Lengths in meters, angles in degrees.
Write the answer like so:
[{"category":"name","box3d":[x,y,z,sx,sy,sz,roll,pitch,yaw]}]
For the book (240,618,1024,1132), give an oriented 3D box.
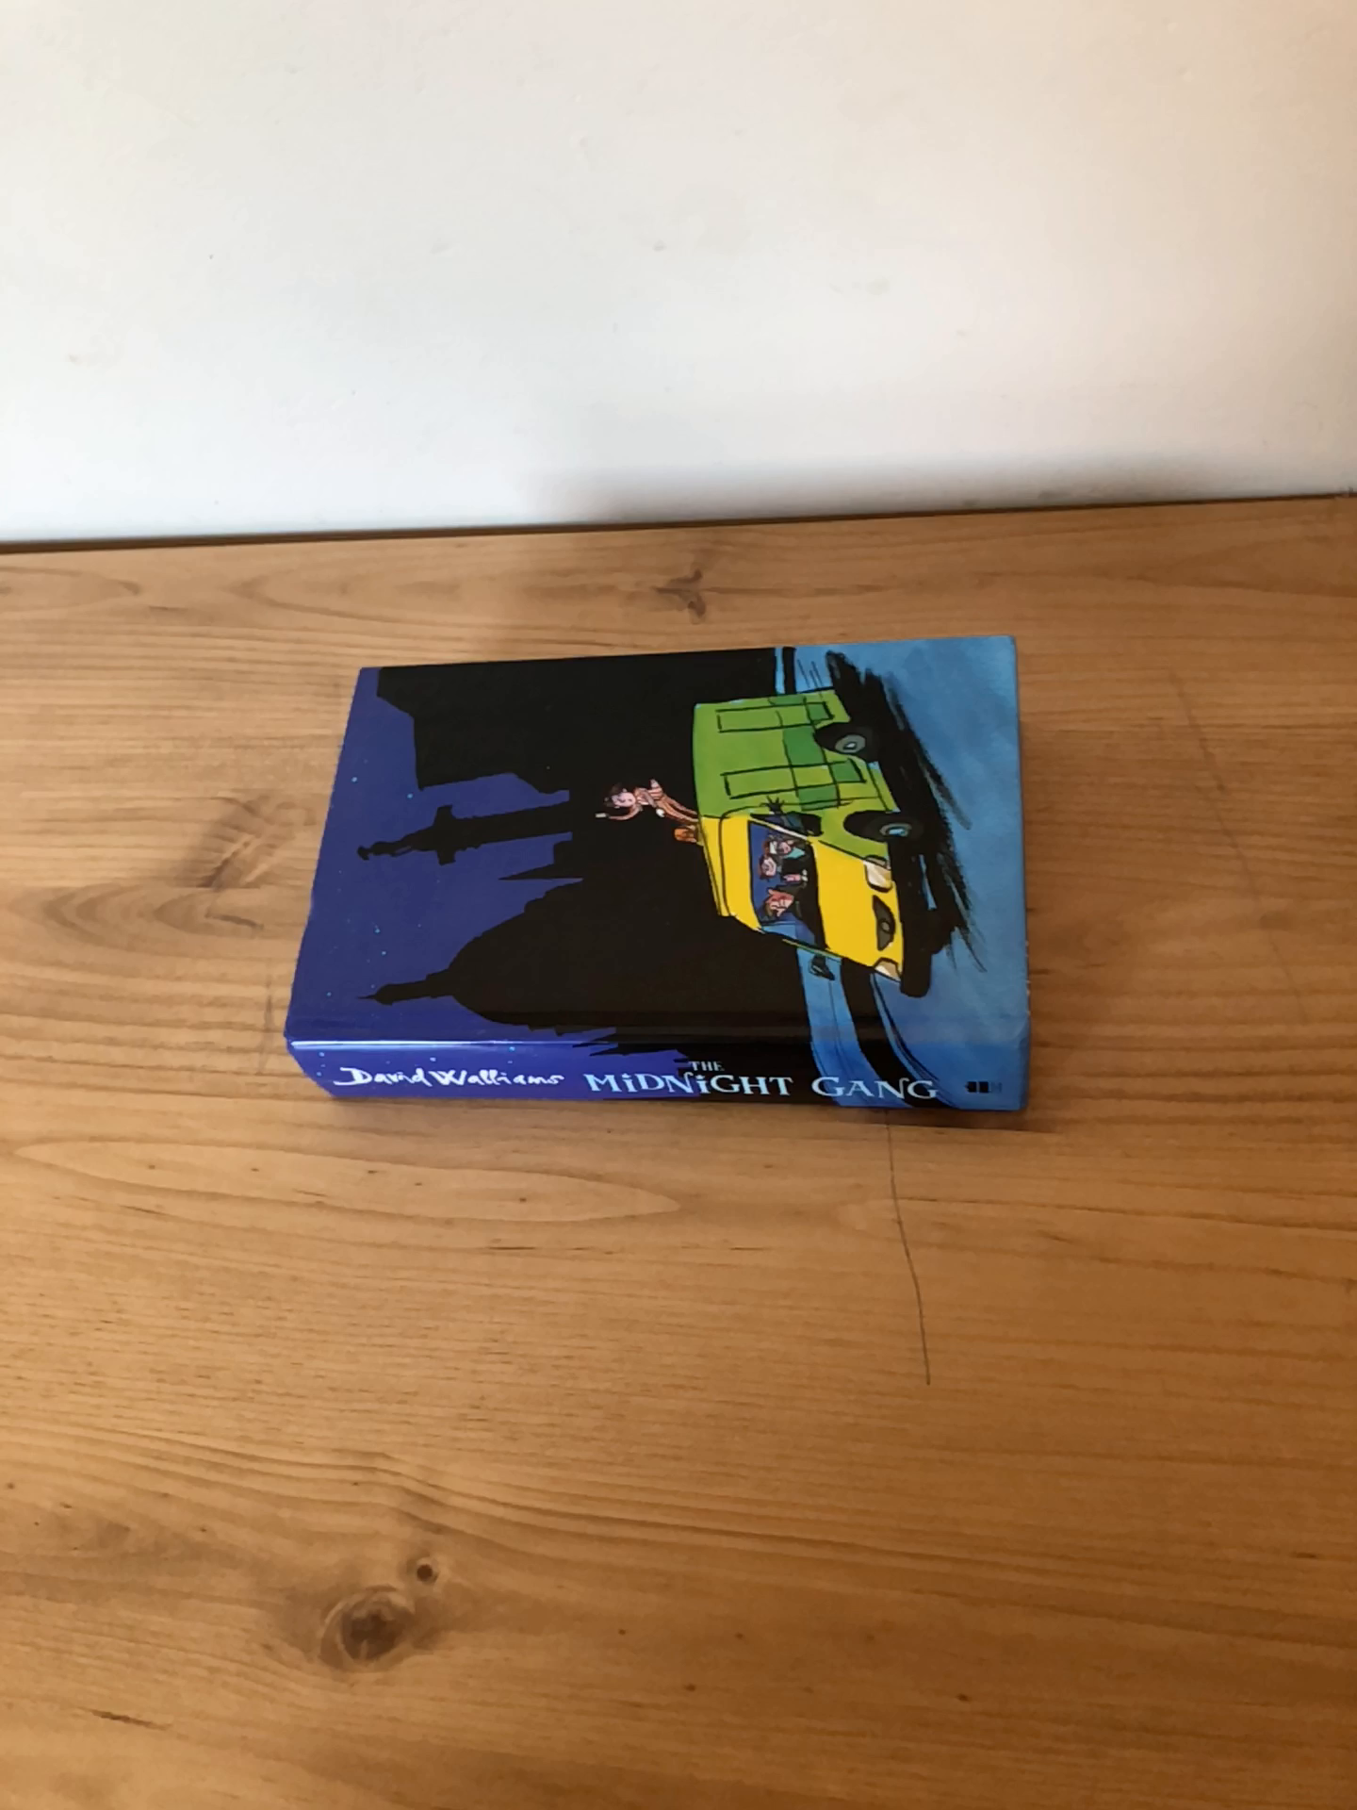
[{"category":"book","box3d":[-0.008,-0.008,0.502,0.237,0.060,0.153,-1,62,12]}]
